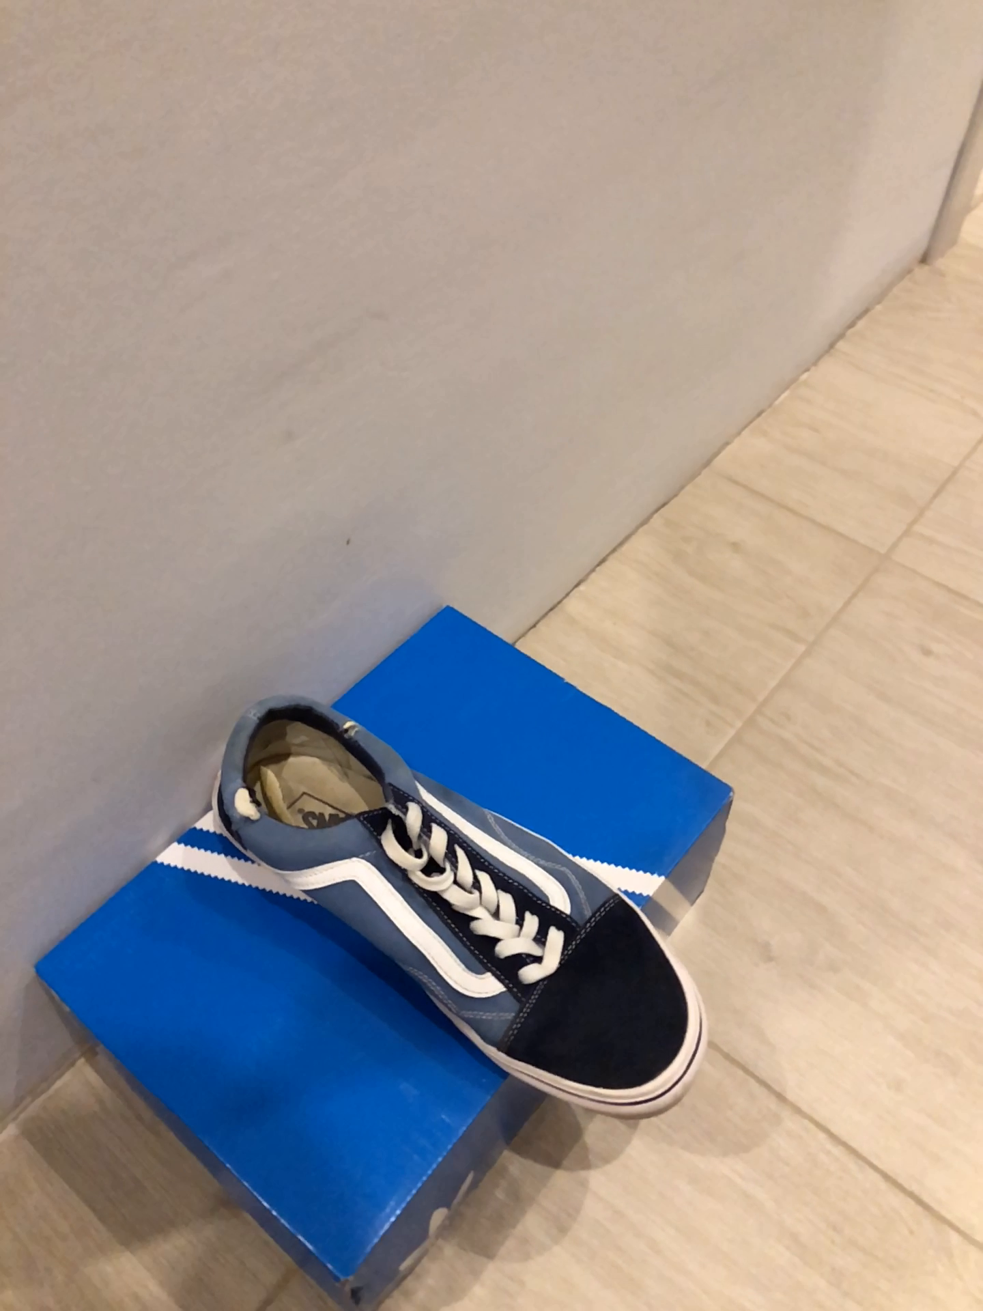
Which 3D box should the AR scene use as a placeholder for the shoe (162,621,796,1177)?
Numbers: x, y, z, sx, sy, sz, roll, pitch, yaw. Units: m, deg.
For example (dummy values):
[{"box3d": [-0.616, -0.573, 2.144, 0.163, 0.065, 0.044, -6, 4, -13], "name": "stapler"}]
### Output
[{"box3d": [-0.013, 0.105, 0.523, 0.281, 0.079, 0.111, 29, 56, 22], "name": "shoe"}]
